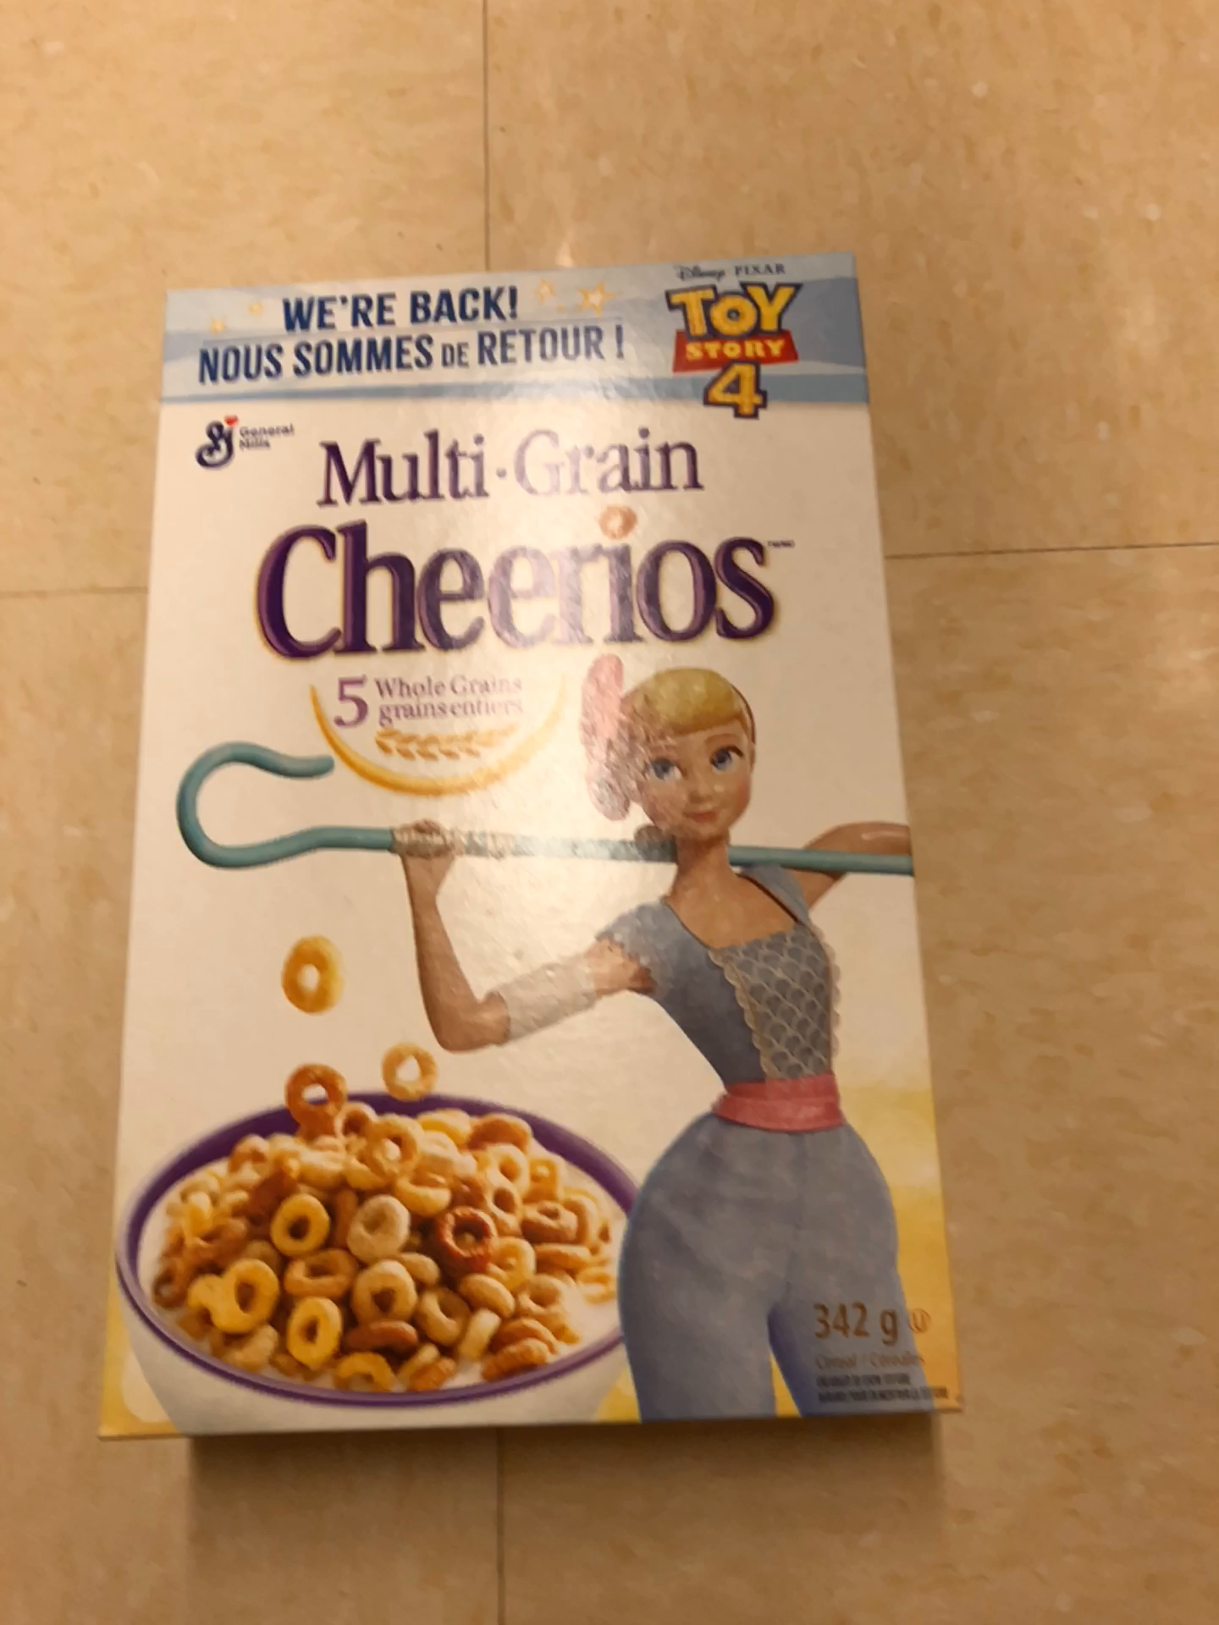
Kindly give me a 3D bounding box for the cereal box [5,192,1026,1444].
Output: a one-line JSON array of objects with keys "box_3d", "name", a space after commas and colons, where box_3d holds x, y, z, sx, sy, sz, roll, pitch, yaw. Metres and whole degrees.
[{"box_3d": [-0.025, -0.006, 0.347, 0.210, 0.070, 0.290, -3, 75, 1], "name": "cereal box"}]
